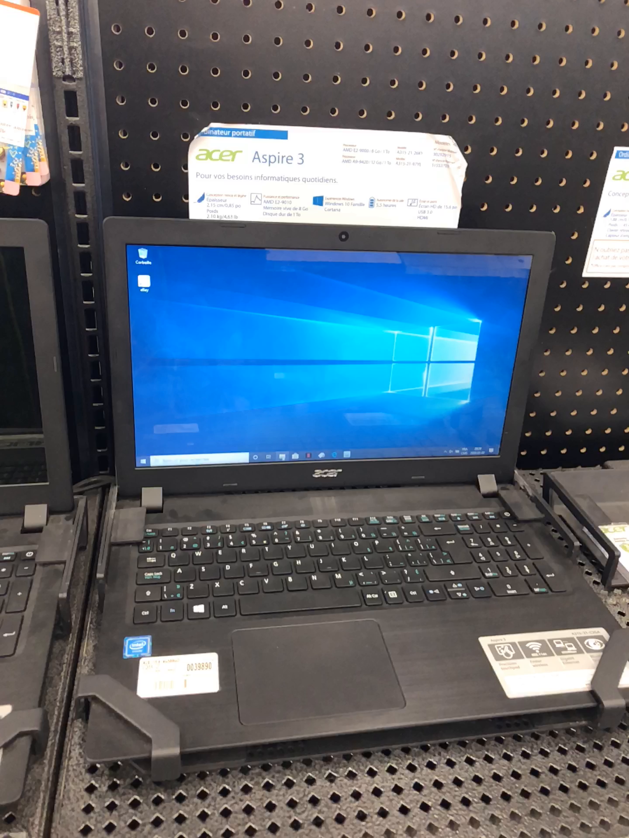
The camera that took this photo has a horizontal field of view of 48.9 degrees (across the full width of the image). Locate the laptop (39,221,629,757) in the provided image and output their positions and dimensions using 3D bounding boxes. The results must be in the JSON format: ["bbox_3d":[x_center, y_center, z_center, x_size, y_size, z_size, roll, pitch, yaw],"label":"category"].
[{"bbox_3d":[0.039,0.016,0.517,0.386,0.247,0.296,-1,28,-10],"label":"laptop"}]
